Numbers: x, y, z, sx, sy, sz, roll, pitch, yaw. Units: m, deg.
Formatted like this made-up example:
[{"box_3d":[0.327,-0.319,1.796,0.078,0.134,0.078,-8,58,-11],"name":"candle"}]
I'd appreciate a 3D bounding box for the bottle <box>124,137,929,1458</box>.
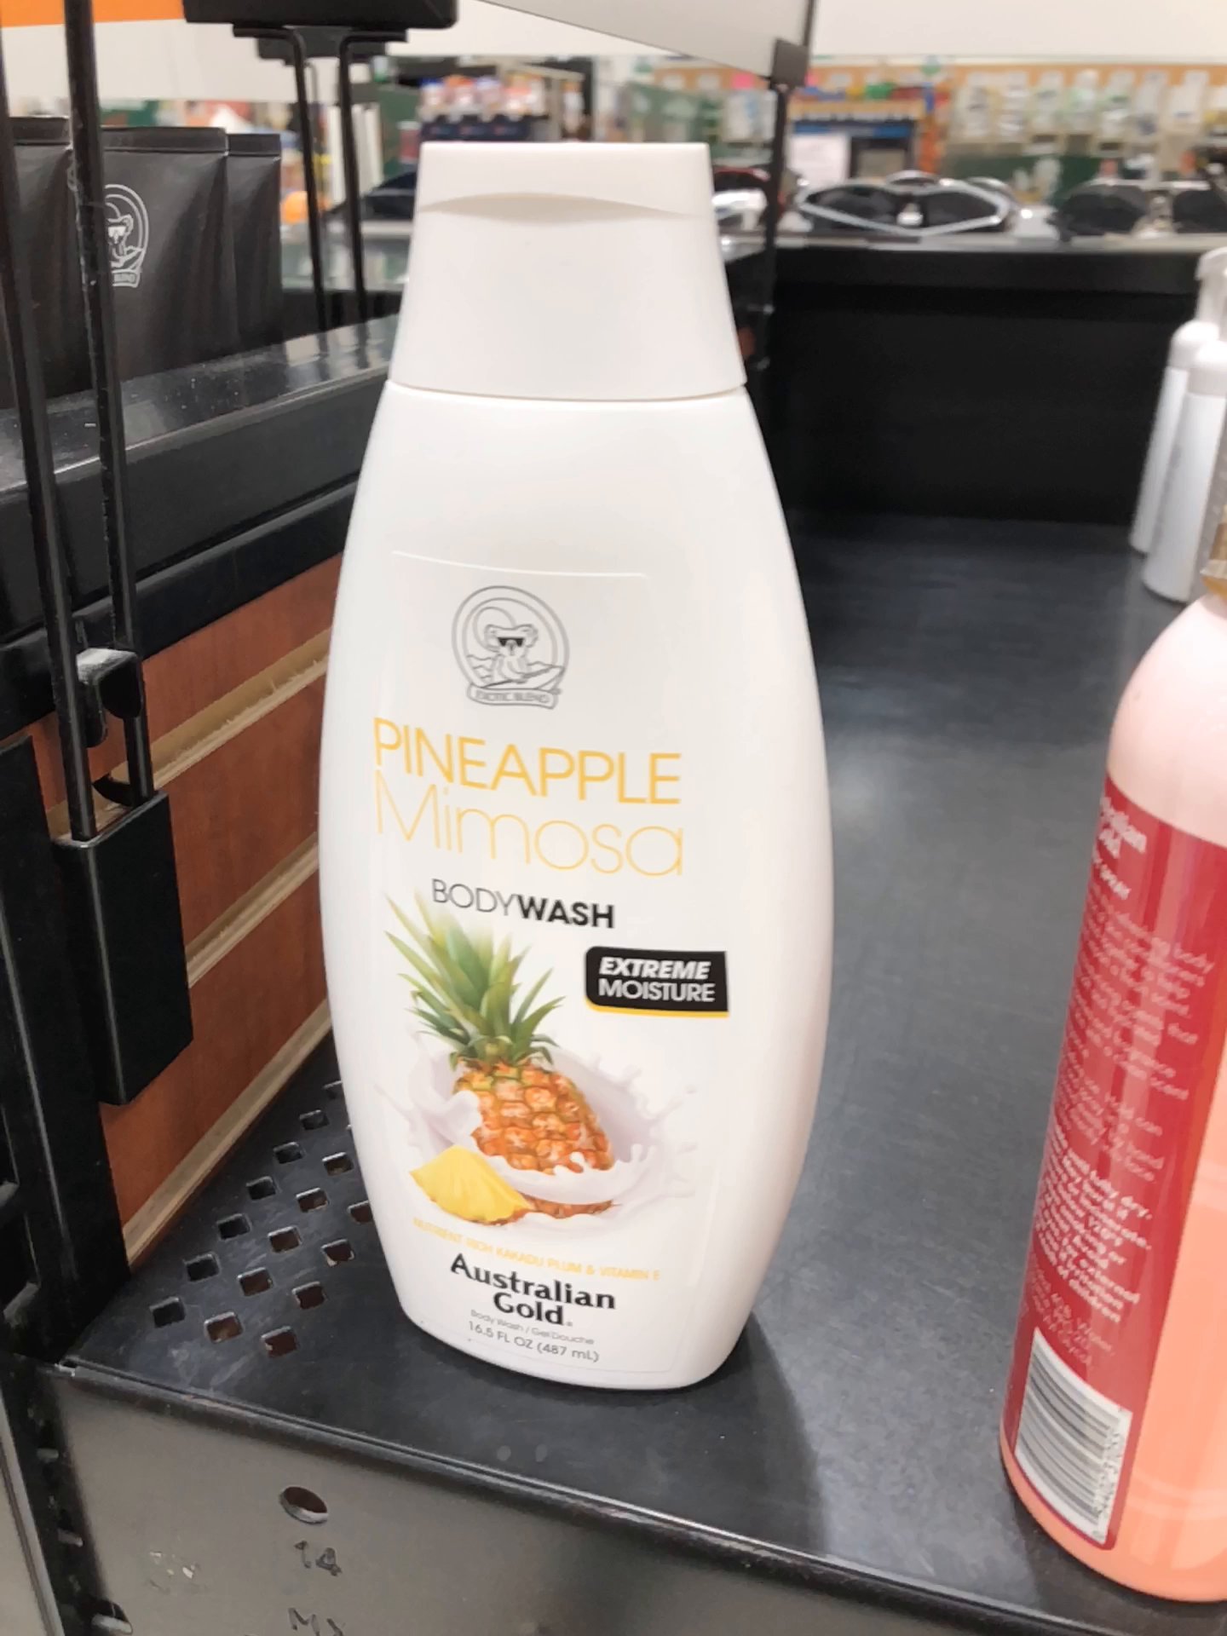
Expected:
[{"box_3d":[-0.009,0.000,0.241,0.100,0.214,0.060,8,26,15],"name":"bottle"}]
